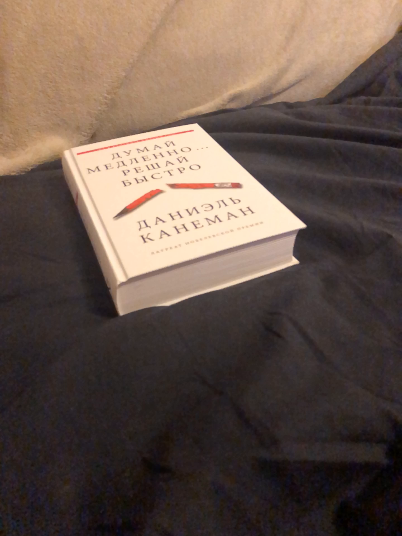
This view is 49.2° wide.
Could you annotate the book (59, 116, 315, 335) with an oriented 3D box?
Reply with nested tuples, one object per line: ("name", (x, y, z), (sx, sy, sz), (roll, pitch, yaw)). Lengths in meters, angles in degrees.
("book", (-0.028, -0.058, 0.389), (0.149, 0.050, 0.221), (-17, 43, -15))
